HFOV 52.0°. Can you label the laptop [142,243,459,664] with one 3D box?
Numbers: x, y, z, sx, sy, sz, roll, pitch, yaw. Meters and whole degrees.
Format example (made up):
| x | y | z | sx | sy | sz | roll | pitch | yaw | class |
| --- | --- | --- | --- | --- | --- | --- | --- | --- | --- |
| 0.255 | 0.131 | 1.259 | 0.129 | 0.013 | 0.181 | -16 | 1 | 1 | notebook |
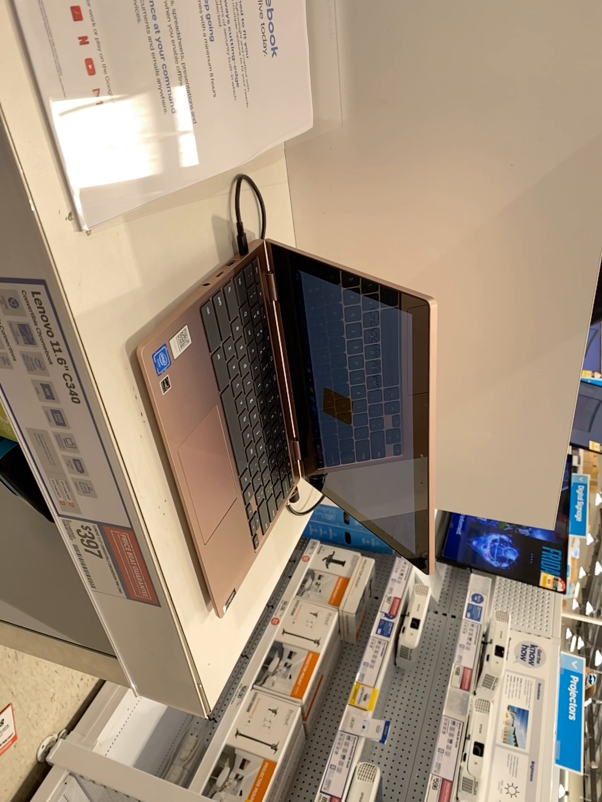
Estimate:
| x | y | z | sx | sy | sz | roll | pitch | yaw | class |
| --- | --- | --- | --- | --- | --- | --- | --- | --- | --- |
| 0.027 | 0.037 | 0.526 | 0.196 | 0.168 | 0.281 | -57 | 148 | -48 | laptop |
